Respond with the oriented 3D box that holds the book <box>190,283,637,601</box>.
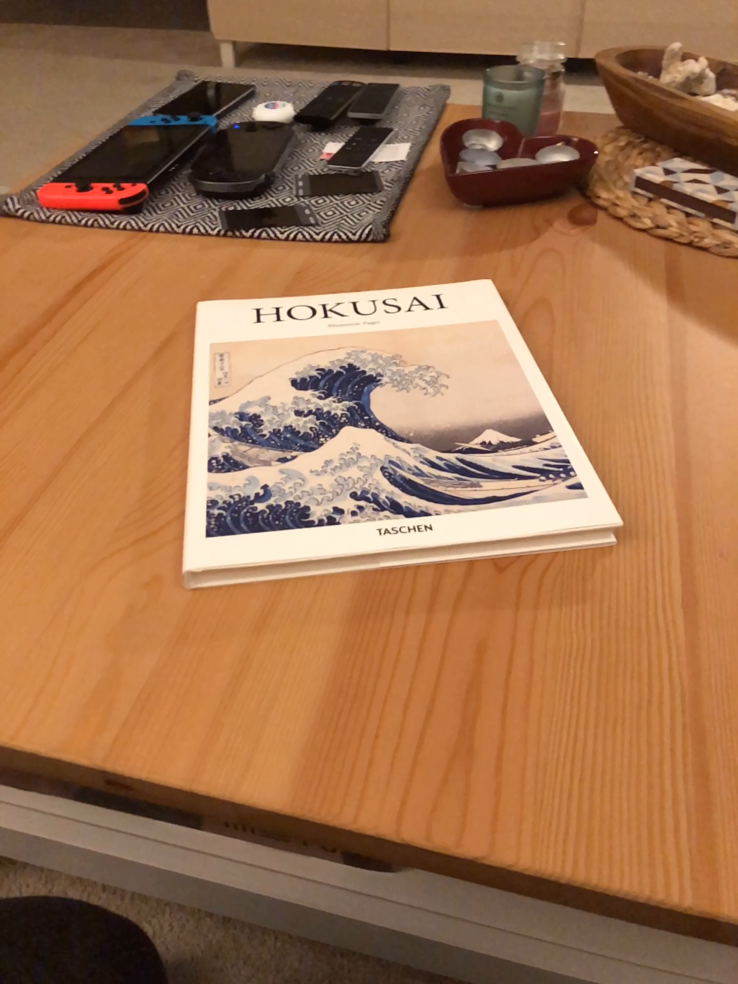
[{"bbox_3d":[0.007,-0.048,0.478,0.210,0.020,0.253,-5,41,-5],"label":"book"}]
